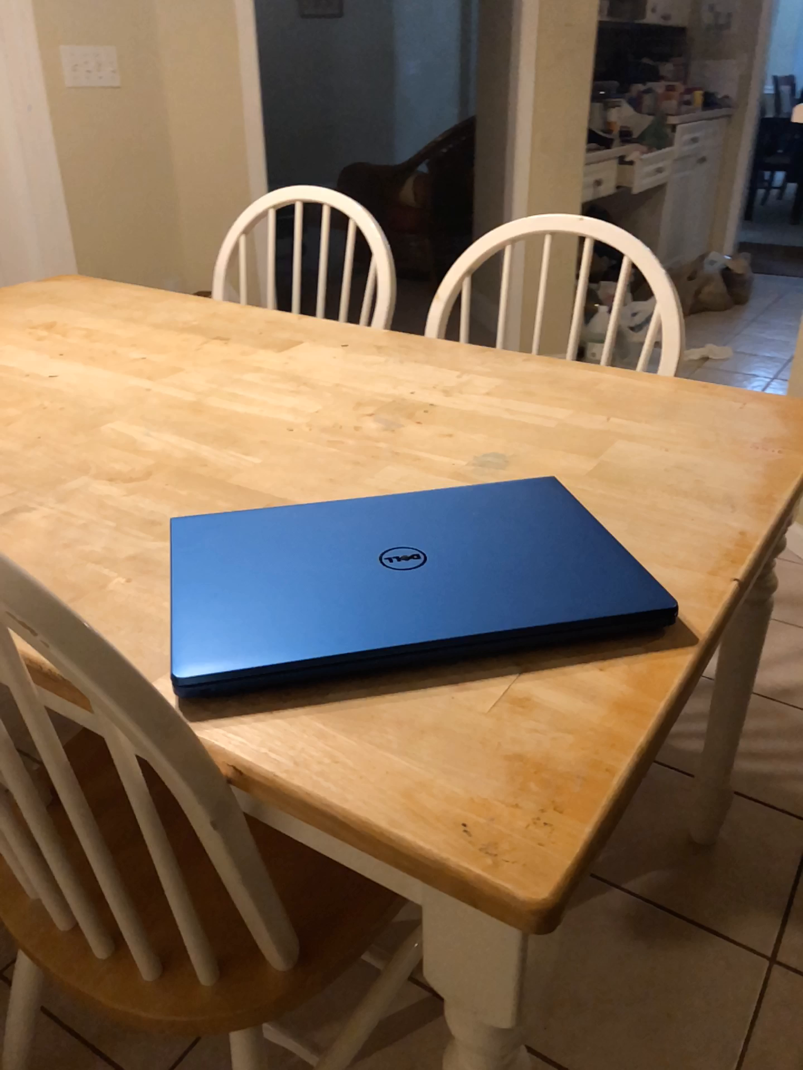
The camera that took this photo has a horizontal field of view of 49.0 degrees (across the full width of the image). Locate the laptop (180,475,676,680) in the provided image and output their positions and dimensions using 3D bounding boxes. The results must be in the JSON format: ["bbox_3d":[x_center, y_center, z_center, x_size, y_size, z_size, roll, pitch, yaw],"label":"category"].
[{"bbox_3d":[0.003,0.020,0.783,0.388,0.001,0.261,-7,29,-11],"label":"laptop"}]
